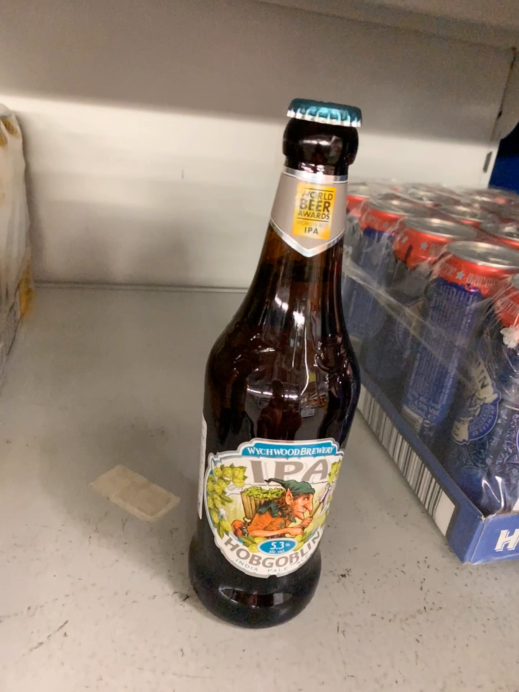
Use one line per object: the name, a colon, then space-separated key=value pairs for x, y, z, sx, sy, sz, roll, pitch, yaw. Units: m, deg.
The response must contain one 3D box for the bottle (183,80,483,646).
bottle: x=0.012 y=0.019 z=0.252 sx=0.080 sy=0.249 sz=0.080 roll=6 pitch=25 yaw=-3
